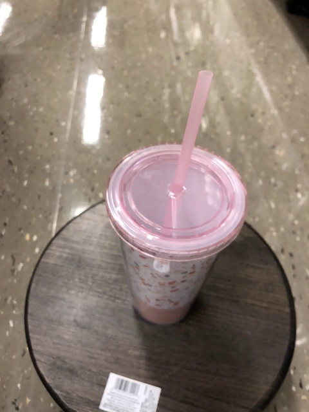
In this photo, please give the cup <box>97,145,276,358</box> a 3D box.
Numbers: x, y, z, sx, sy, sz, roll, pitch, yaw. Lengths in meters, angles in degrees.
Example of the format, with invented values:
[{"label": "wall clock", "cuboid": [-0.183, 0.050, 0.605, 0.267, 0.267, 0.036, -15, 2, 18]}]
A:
[{"label": "cup", "cuboid": [0.013, 0.044, 0.284, 0.090, 0.150, 0.090, 1, 52, -2]}]
